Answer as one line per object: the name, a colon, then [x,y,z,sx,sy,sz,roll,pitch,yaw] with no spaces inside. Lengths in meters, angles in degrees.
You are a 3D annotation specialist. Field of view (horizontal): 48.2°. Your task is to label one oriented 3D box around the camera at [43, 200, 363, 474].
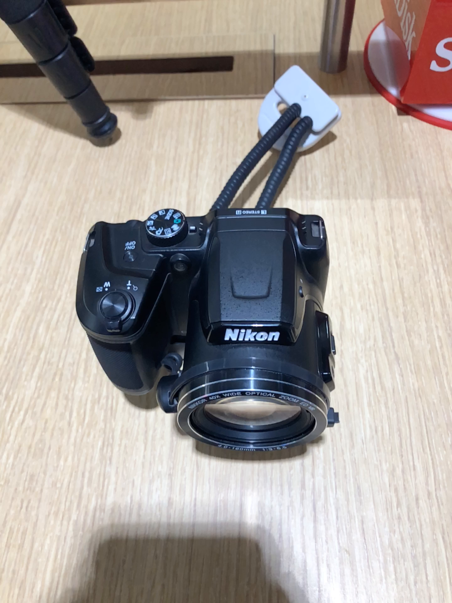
camera: [-0.005,0.017,0.216,0.103,0.070,0.093,-1,57,4]
